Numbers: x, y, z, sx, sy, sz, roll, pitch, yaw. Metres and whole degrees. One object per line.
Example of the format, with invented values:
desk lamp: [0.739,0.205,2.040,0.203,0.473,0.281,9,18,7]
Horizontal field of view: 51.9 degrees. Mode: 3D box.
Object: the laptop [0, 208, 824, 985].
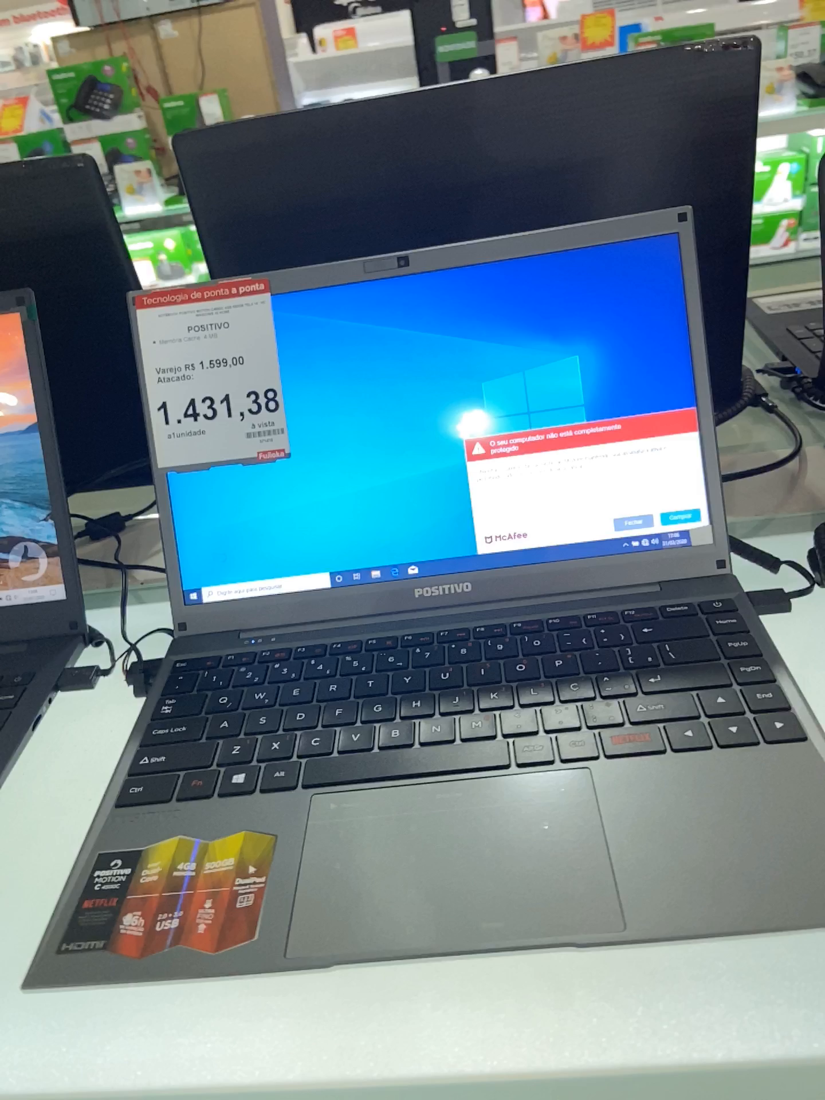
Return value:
laptop: [0.004,-0.013,0.403,0.330,0.183,0.321,-7,31,5]
